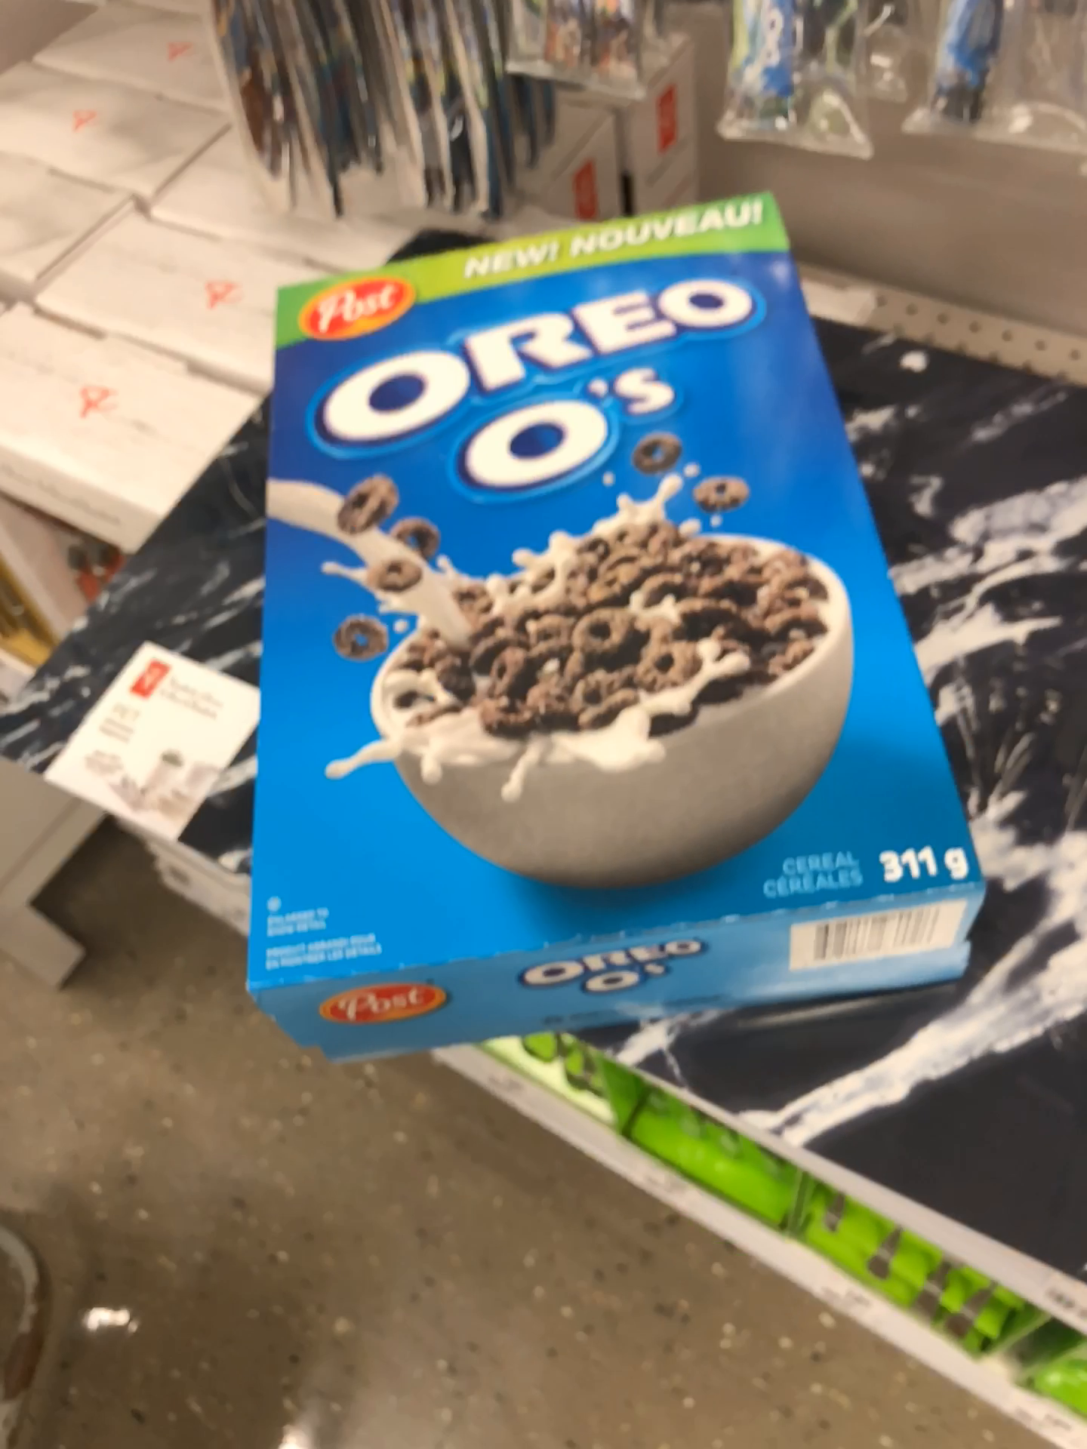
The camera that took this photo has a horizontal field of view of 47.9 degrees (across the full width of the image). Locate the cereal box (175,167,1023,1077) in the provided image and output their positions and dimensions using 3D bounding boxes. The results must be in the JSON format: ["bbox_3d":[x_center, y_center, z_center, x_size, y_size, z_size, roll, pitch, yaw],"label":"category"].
[{"bbox_3d":[0.003,-0.053,0.414,0.210,0.070,0.301,-8,56,4],"label":"cereal box"}]
